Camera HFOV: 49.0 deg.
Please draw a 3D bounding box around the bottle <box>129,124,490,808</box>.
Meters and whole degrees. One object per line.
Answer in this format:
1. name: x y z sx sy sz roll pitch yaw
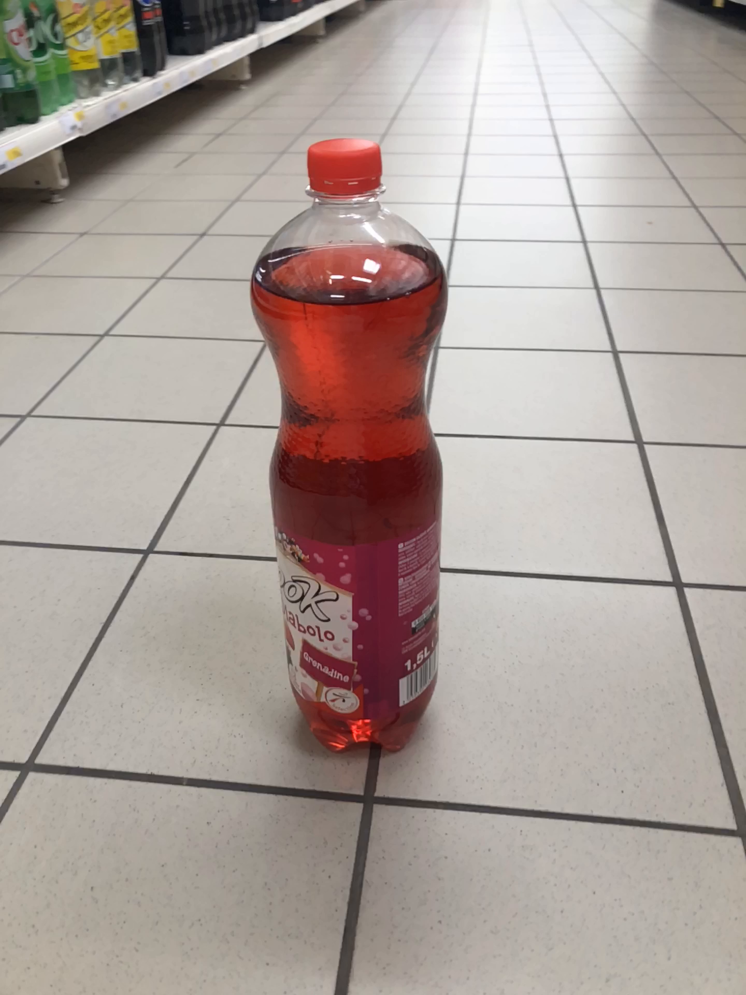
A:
1. bottle: -0.022 -0.005 0.405 0.101 0.308 0.100 -1 33 1
